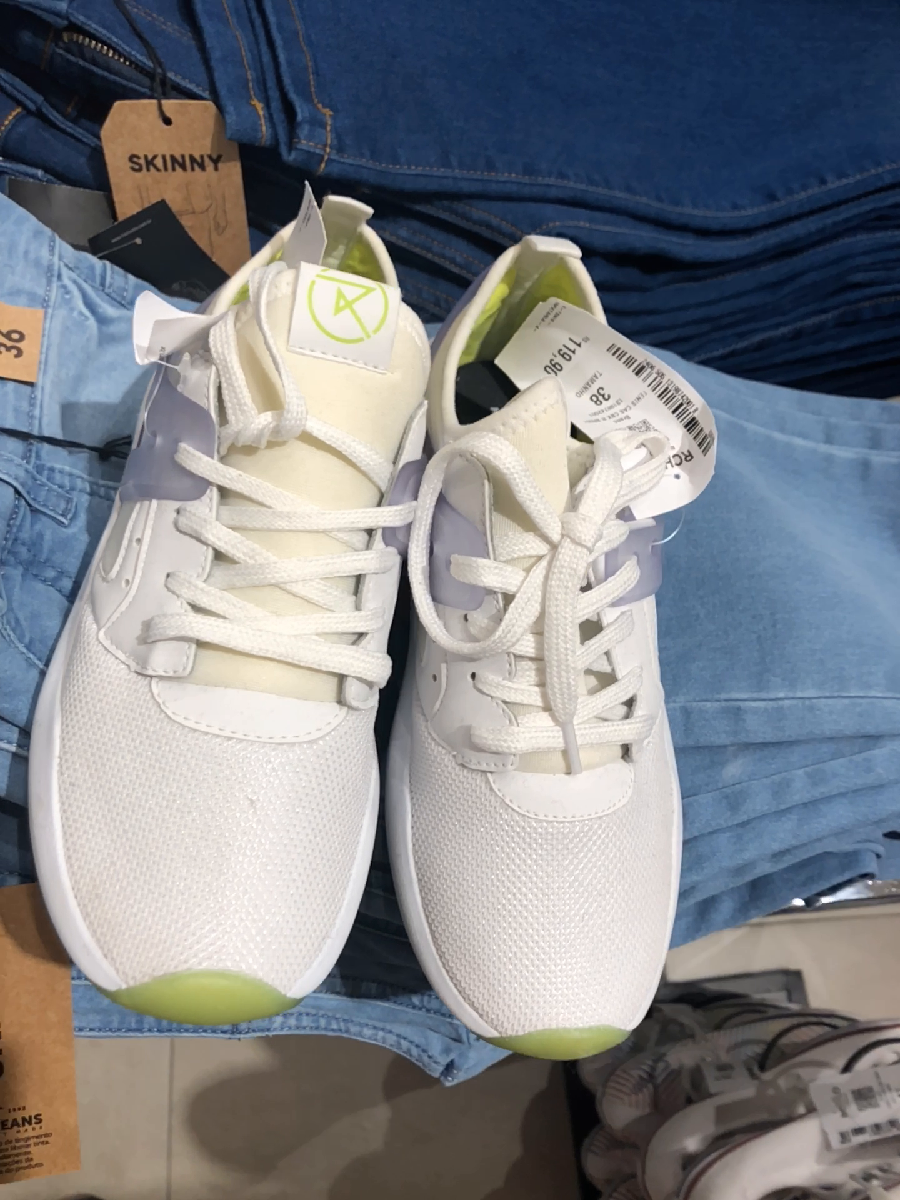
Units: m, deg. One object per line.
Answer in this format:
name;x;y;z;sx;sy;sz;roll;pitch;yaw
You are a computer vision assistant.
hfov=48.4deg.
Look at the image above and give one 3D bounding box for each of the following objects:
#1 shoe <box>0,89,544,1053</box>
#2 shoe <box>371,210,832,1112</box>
shoe;-0.058;-0.022;0.302;0.110;0.120;0.261;11;47;-15
shoe;0.030;0.012;0.316;0.100;0.090;0.250;0;71;-8
